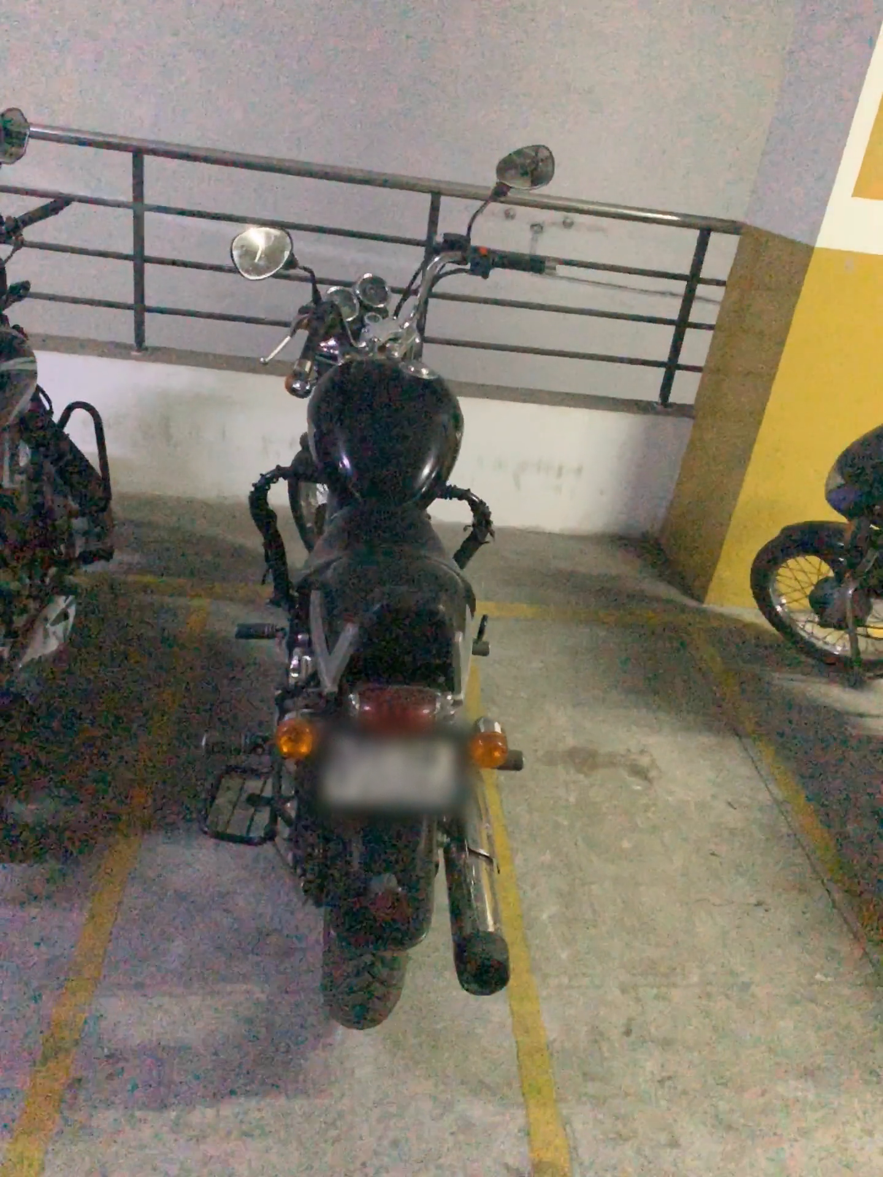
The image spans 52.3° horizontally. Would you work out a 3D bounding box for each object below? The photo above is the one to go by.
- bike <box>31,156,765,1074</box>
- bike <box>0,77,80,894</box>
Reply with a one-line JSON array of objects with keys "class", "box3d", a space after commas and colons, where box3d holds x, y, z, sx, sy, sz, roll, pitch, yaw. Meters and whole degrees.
[{"class": "bike", "box3d": [-0.302, -0.151, 2.070, 0.851, 1.232, 1.807, 1, 30, -14]}, {"class": "bike", "box3d": [-1.443, -0.405, 2.275, 0.719, 1.277, 1.572, 3, 32, -11]}]
